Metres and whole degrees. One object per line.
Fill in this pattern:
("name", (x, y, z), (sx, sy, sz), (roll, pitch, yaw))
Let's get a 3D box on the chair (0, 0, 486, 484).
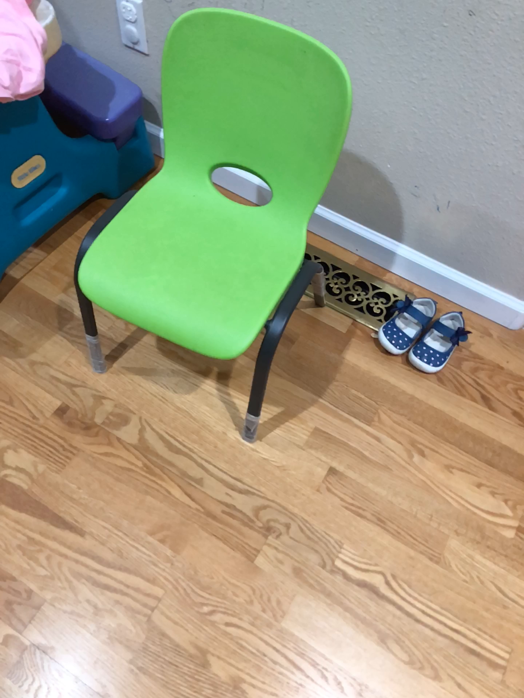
("chair", (-0.047, -0.187, 0.948), (0.510, 0.558, 0.482), (25, 61, 11))
